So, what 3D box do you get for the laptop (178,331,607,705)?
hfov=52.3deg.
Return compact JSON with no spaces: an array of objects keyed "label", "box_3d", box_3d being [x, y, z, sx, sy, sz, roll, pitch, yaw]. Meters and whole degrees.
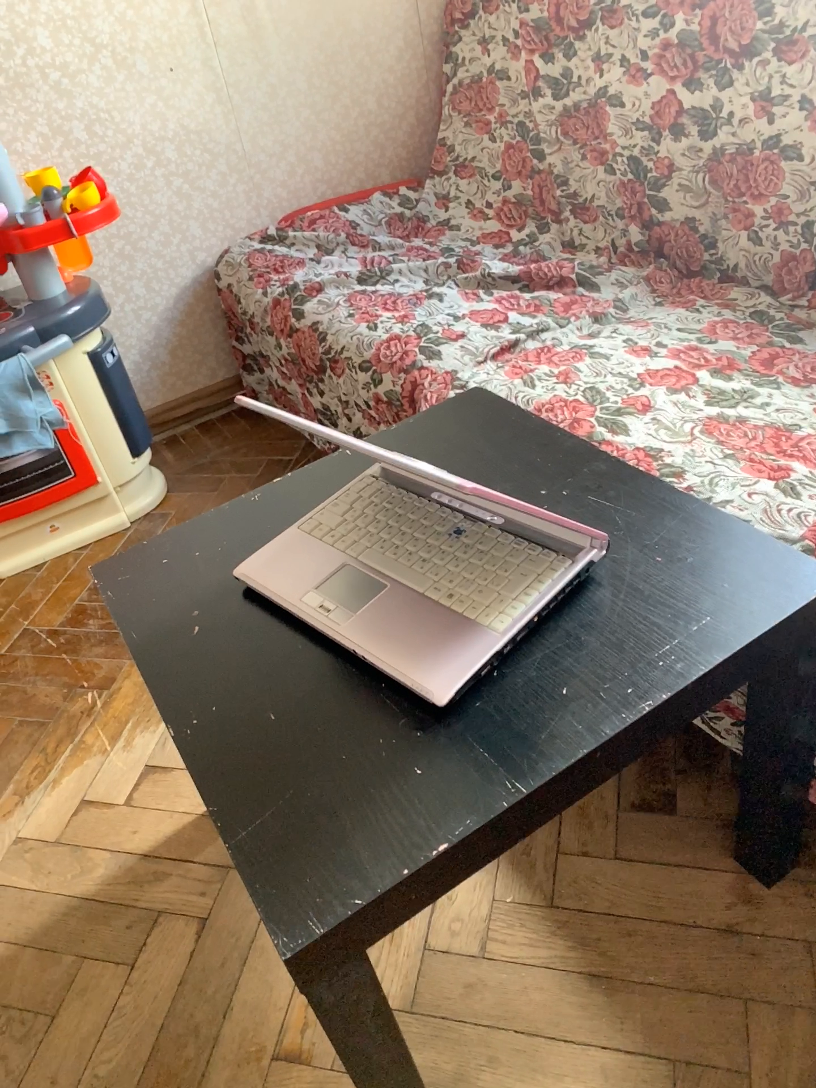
[{"label":"laptop","box_3d":[-0.014,-0.047,0.762,0.306,0.156,0.226,25,52,40]}]
